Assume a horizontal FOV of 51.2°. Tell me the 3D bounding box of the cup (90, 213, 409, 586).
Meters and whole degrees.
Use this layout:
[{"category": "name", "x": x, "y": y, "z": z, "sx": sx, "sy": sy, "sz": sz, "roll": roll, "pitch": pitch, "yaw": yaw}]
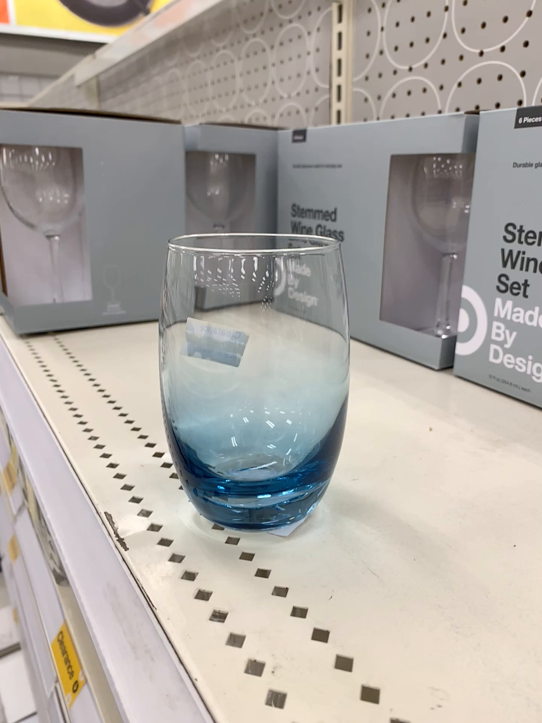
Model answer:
[{"category": "cup", "x": -0.004, "y": 0.003, "z": 0.240, "sx": 0.090, "sy": 0.120, "sz": 0.090, "roll": -1, "pitch": 18, "yaw": 0}]
